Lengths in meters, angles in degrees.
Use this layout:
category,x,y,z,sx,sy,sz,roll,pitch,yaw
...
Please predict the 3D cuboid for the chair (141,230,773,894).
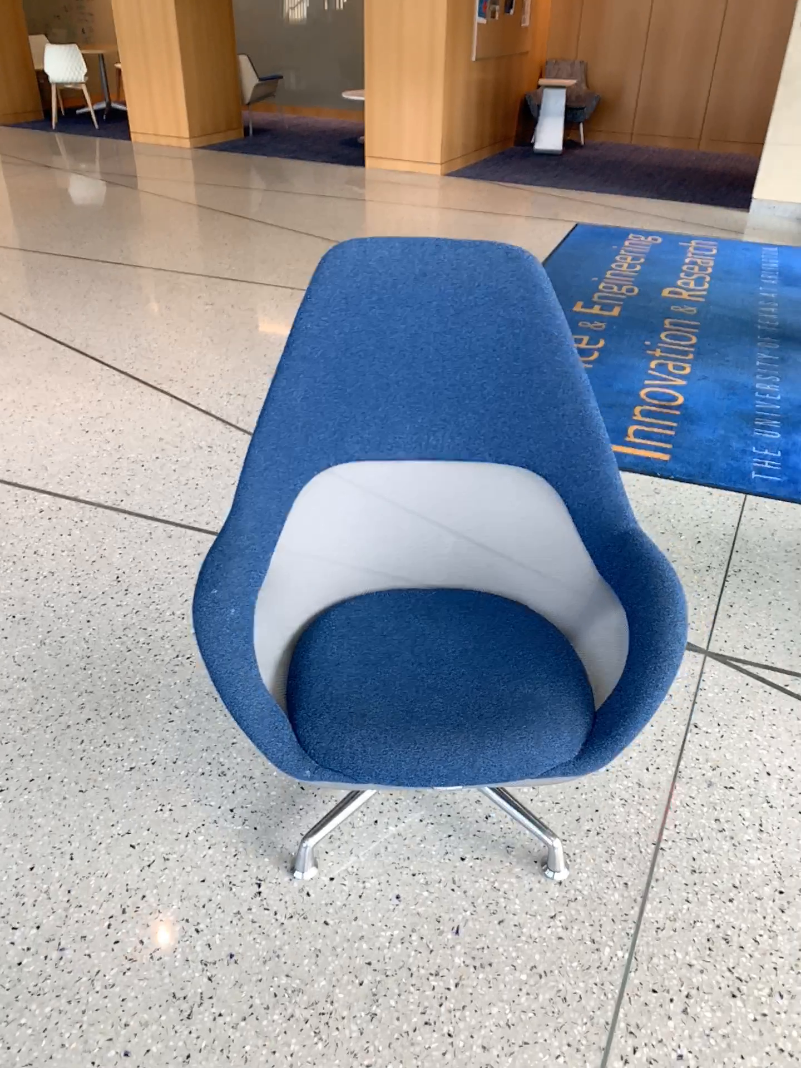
category,x,y,z,sx,sy,sz,roll,pitch,yaw
chair,0.055,0.020,1.522,0.724,0.933,0.791,0,33,-1
